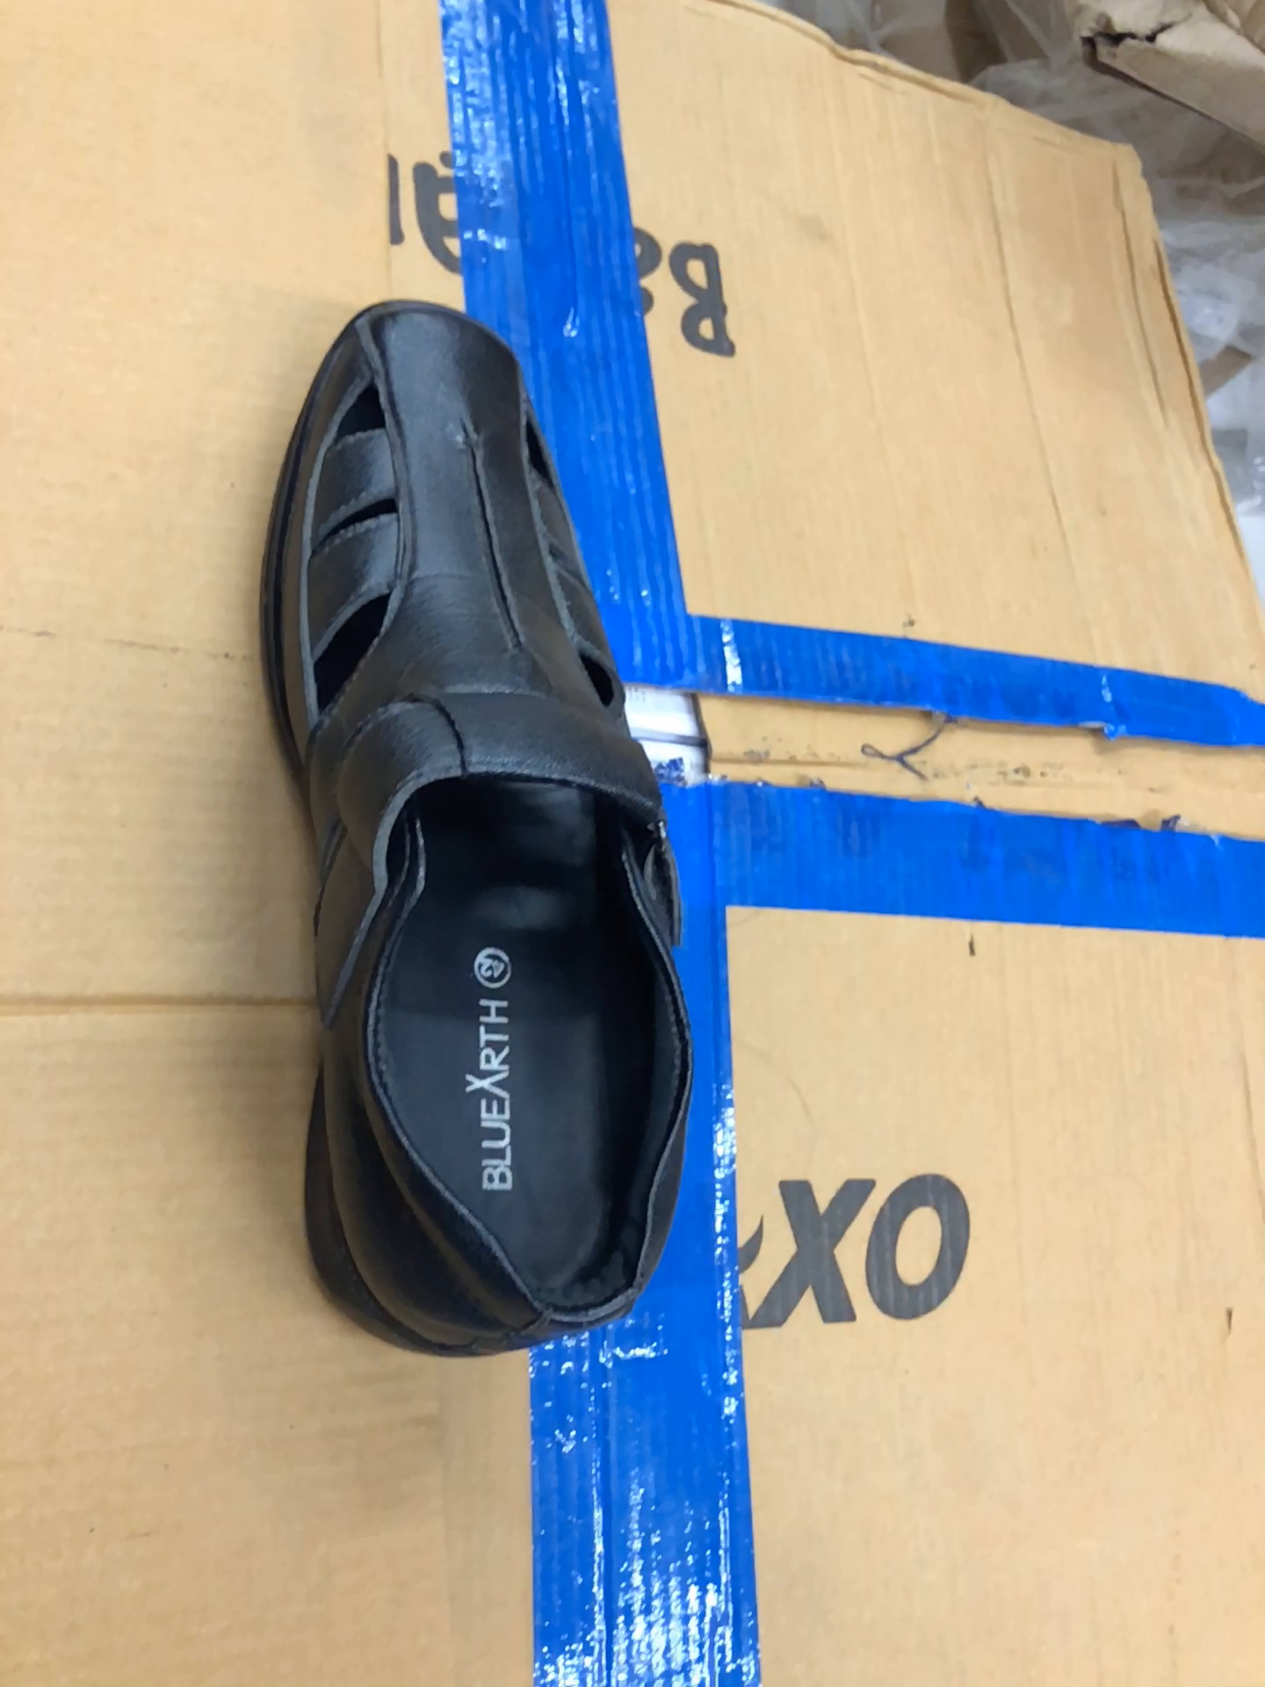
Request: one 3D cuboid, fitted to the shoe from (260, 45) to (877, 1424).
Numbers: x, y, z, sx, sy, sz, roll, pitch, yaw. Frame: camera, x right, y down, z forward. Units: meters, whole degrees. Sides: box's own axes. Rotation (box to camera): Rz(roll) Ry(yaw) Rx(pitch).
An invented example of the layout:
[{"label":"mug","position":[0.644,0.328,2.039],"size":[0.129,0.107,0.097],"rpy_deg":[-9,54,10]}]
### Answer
[{"label":"shoe","position":[-0.029,-0.027,0.356],"size":[0.101,0.097,0.304],"rpy_deg":[2,73,-27]}]
